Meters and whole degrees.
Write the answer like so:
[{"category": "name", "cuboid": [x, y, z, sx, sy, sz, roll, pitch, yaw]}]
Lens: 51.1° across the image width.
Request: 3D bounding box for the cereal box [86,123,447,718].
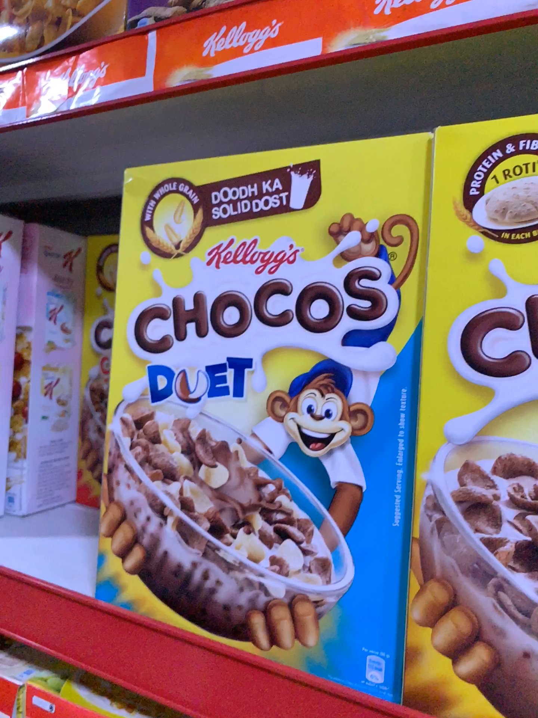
[{"category": "cereal box", "cuboid": [-0.005, 0.022, 0.300, 0.170, 0.250, 0.060, 3, -1, 28]}]
